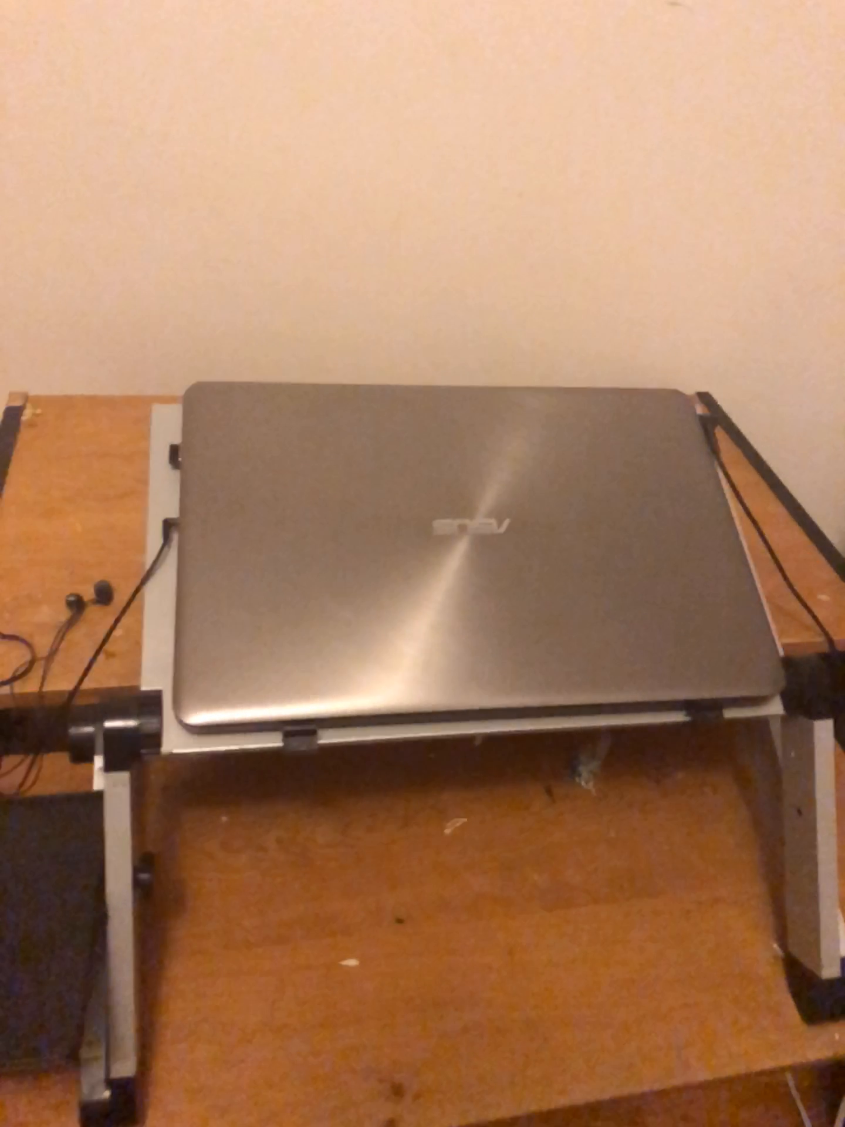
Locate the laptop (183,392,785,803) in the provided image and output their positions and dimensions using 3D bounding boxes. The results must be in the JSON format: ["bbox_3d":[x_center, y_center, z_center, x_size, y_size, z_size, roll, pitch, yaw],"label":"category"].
[{"bbox_3d":[0.027,0.008,0.632,0.362,0.071,0.250,-1,56,-9],"label":"laptop"}]
